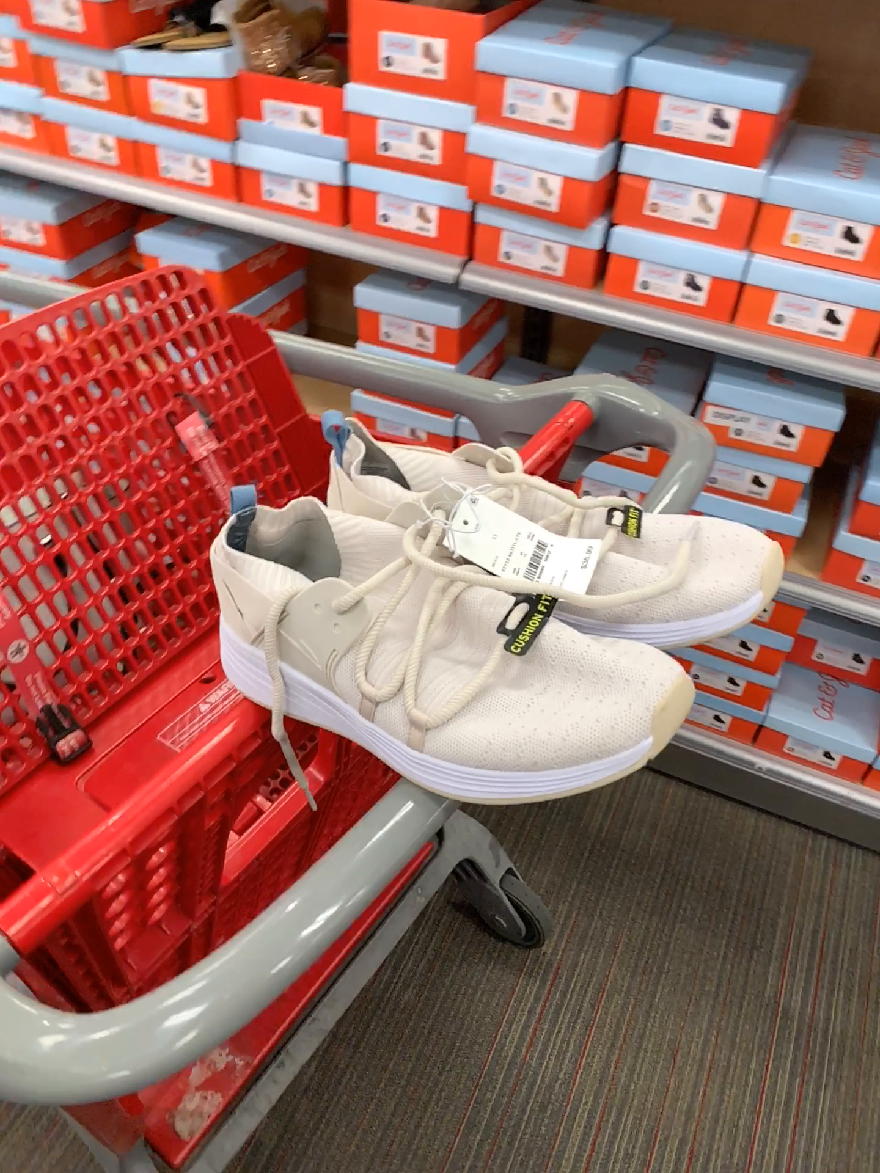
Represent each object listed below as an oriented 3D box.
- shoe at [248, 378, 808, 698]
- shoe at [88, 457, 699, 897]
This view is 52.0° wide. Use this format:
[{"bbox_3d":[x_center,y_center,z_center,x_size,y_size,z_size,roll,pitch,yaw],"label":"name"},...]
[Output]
[{"bbox_3d":[0.050,-0.039,0.516,0.280,0.109,0.110,8,42,26],"label":"shoe"},{"bbox_3d":[-0.029,0.024,0.451,0.280,0.110,0.110,14,42,36],"label":"shoe"}]
